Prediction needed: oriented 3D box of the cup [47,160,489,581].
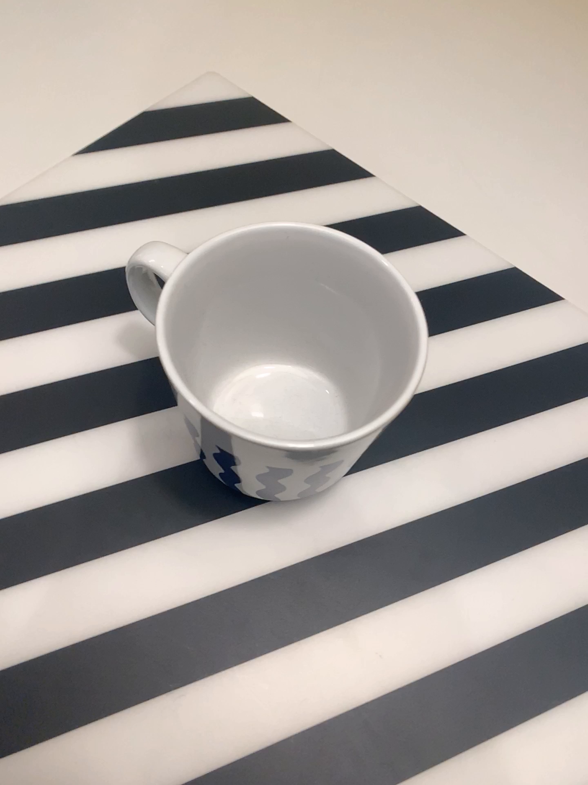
[{"bbox_3d":[-0.009,-0.008,0.226,0.110,0.070,0.090,35,63,11],"label":"cup"}]
